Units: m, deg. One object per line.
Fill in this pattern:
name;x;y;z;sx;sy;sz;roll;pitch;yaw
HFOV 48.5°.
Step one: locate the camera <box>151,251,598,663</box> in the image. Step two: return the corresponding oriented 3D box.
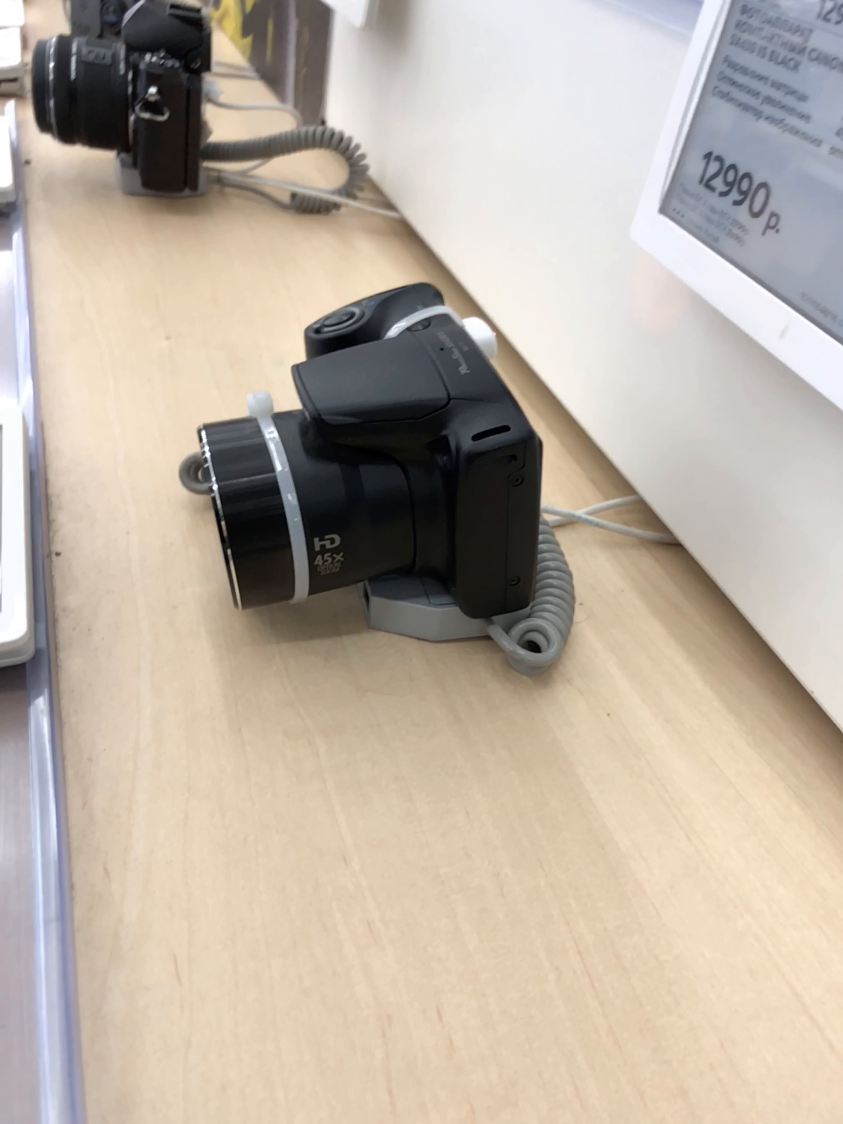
camera;-0.024;-0.039;0.281;0.093;0.062;0.117;-6;40;-23
